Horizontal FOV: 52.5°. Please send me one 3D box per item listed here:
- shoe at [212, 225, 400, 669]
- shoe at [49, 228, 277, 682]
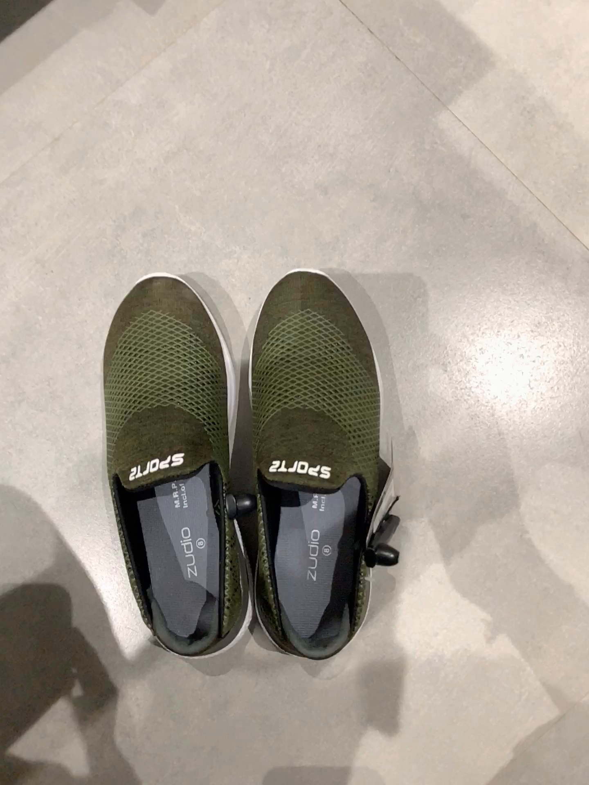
[{"bbox_3d":[0.007,0.036,0.437,0.100,0.100,0.280,-5,84,2],"label":"shoe"},{"bbox_3d":[-0.090,0.040,0.437,0.100,0.100,0.280,-10,84,1],"label":"shoe"}]
